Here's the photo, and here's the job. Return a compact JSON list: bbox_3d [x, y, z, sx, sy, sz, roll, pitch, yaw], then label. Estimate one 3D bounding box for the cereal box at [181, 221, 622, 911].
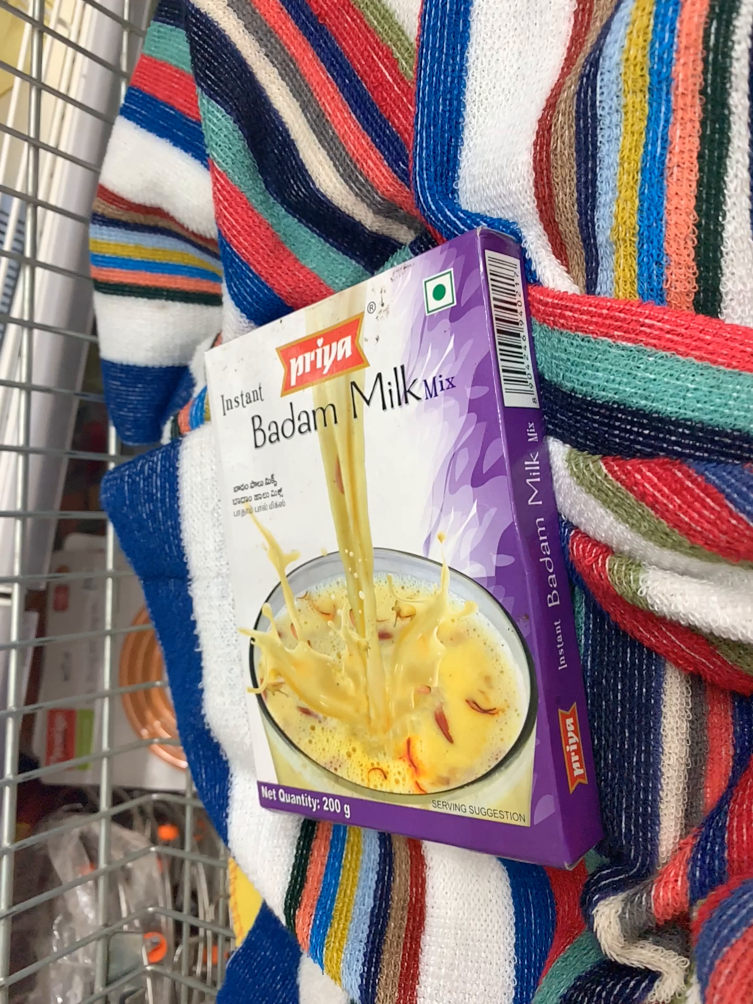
[{"bbox_3d":[-0.002,0.020,0.231,0.121,0.030,0.160,-10,85,40],"label":"cereal box"}]
